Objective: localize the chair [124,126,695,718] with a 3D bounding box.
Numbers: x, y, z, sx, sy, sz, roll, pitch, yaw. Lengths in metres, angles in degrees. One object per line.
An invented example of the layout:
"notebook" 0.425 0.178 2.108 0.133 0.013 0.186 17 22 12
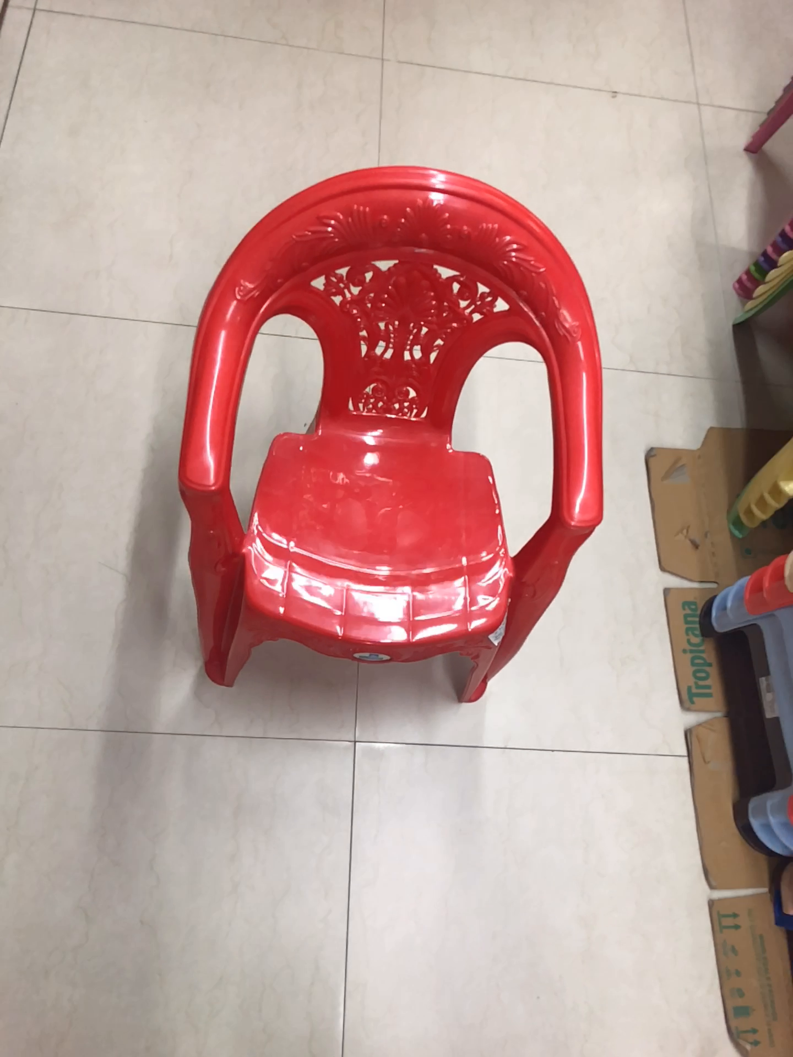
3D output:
"chair" -0.013 -0.045 0.888 0.390 0.509 0.371 5 68 -7
